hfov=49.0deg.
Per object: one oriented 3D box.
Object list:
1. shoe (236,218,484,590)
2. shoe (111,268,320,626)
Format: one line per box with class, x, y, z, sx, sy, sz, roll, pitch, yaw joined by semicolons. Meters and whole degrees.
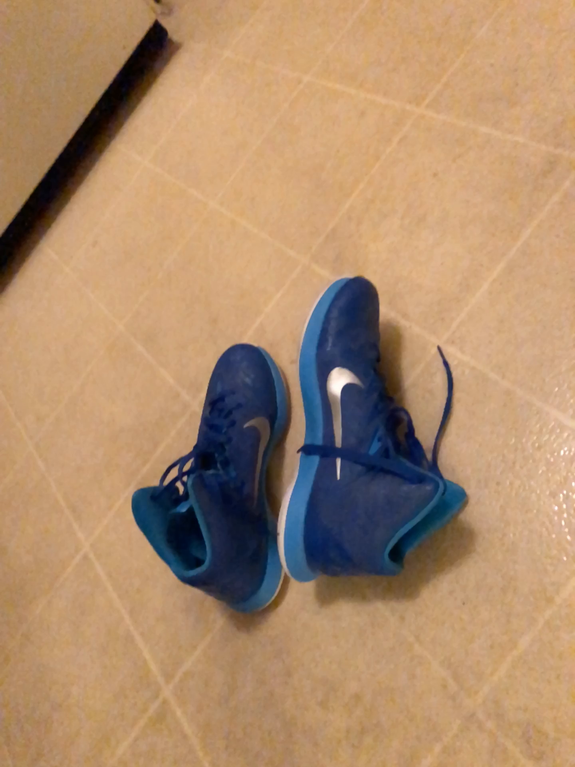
shoe;0.075;0.021;0.559;0.159;0.120;0.282;-4;66;29
shoe;-0.068;0.067;0.636;0.120;0.144;0.311;-20;58;28
